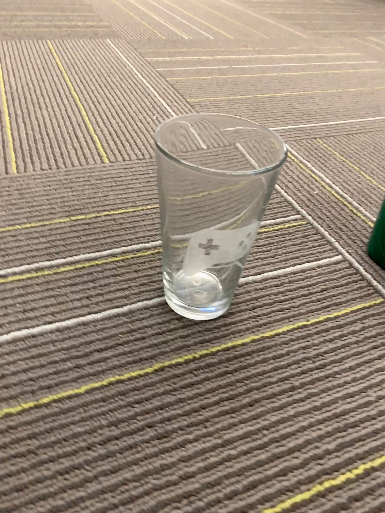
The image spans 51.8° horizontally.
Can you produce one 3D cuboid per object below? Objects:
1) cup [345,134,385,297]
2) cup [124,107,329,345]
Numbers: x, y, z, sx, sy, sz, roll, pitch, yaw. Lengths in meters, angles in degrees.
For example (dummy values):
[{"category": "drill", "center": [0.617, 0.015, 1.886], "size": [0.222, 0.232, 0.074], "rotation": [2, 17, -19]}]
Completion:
[{"category": "cup", "center": [0.213, -0.038, 0.367], "size": [0.070, 0.119, 0.080], "rotation": [-7, 42, -15]}, {"category": "cup", "center": [0.014, -0.024, 0.281], "size": [0.090, 0.119, 0.090], "rotation": [3, 41, -3]}]
